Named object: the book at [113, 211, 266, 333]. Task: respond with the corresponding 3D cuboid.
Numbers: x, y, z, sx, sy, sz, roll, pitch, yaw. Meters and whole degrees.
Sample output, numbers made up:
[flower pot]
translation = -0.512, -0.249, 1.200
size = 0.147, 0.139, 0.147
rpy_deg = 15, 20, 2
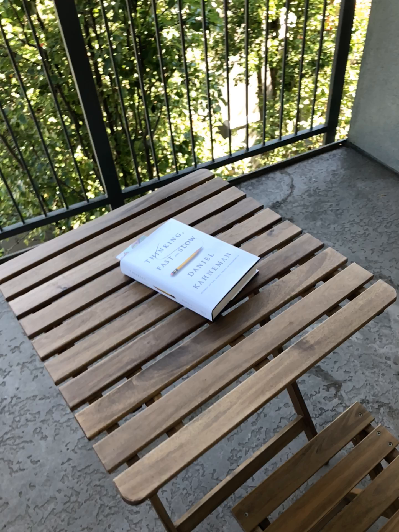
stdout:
[book]
translation = -0.018, 0.000, 0.884
size = 0.240, 0.060, 0.180
rpy_deg = 26, 53, 28
